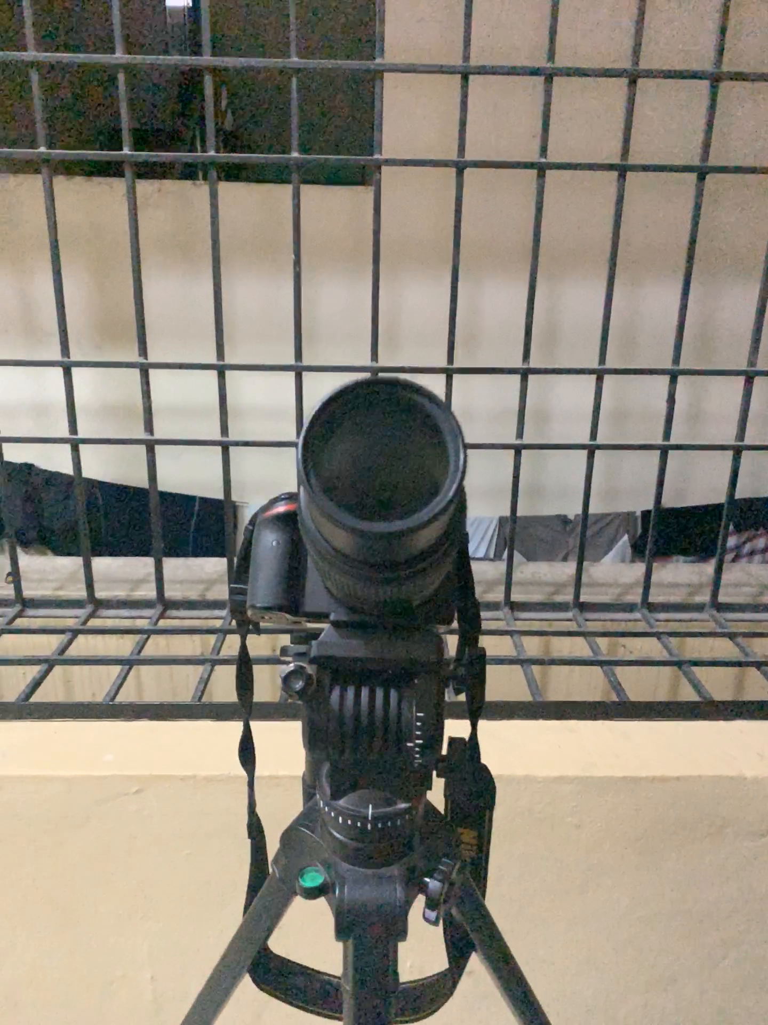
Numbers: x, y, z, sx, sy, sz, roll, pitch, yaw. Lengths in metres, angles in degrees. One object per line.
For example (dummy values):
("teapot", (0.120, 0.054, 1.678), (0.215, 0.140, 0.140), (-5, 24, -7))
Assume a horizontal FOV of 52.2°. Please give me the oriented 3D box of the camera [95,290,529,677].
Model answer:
("camera", (-0.019, 0.006, 0.360), (0.136, 0.100, 0.209), (2, -21, 2))
